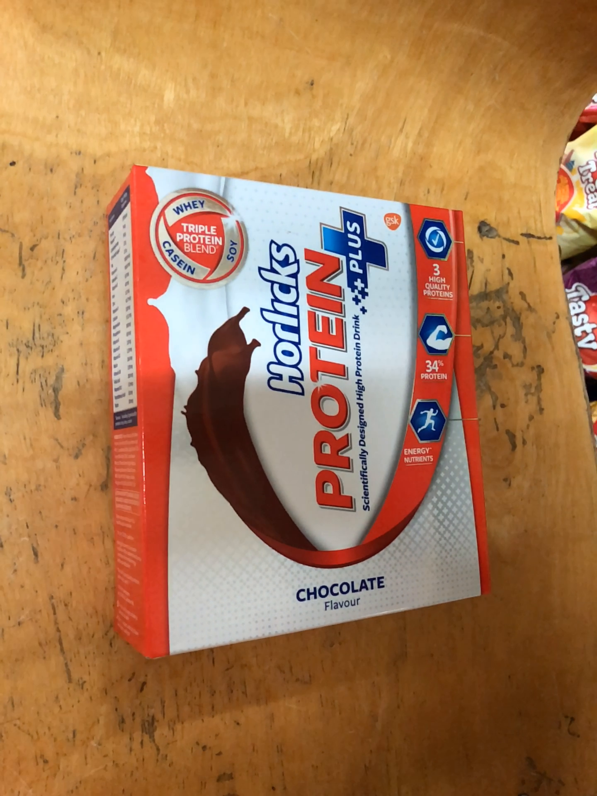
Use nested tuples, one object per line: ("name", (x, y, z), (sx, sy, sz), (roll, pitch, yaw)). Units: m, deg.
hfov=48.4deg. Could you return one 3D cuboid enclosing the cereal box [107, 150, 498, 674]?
("cereal box", (0.004, 0.003, 0.259), (0.140, 0.050, 0.160), (-1, 87, -29))
